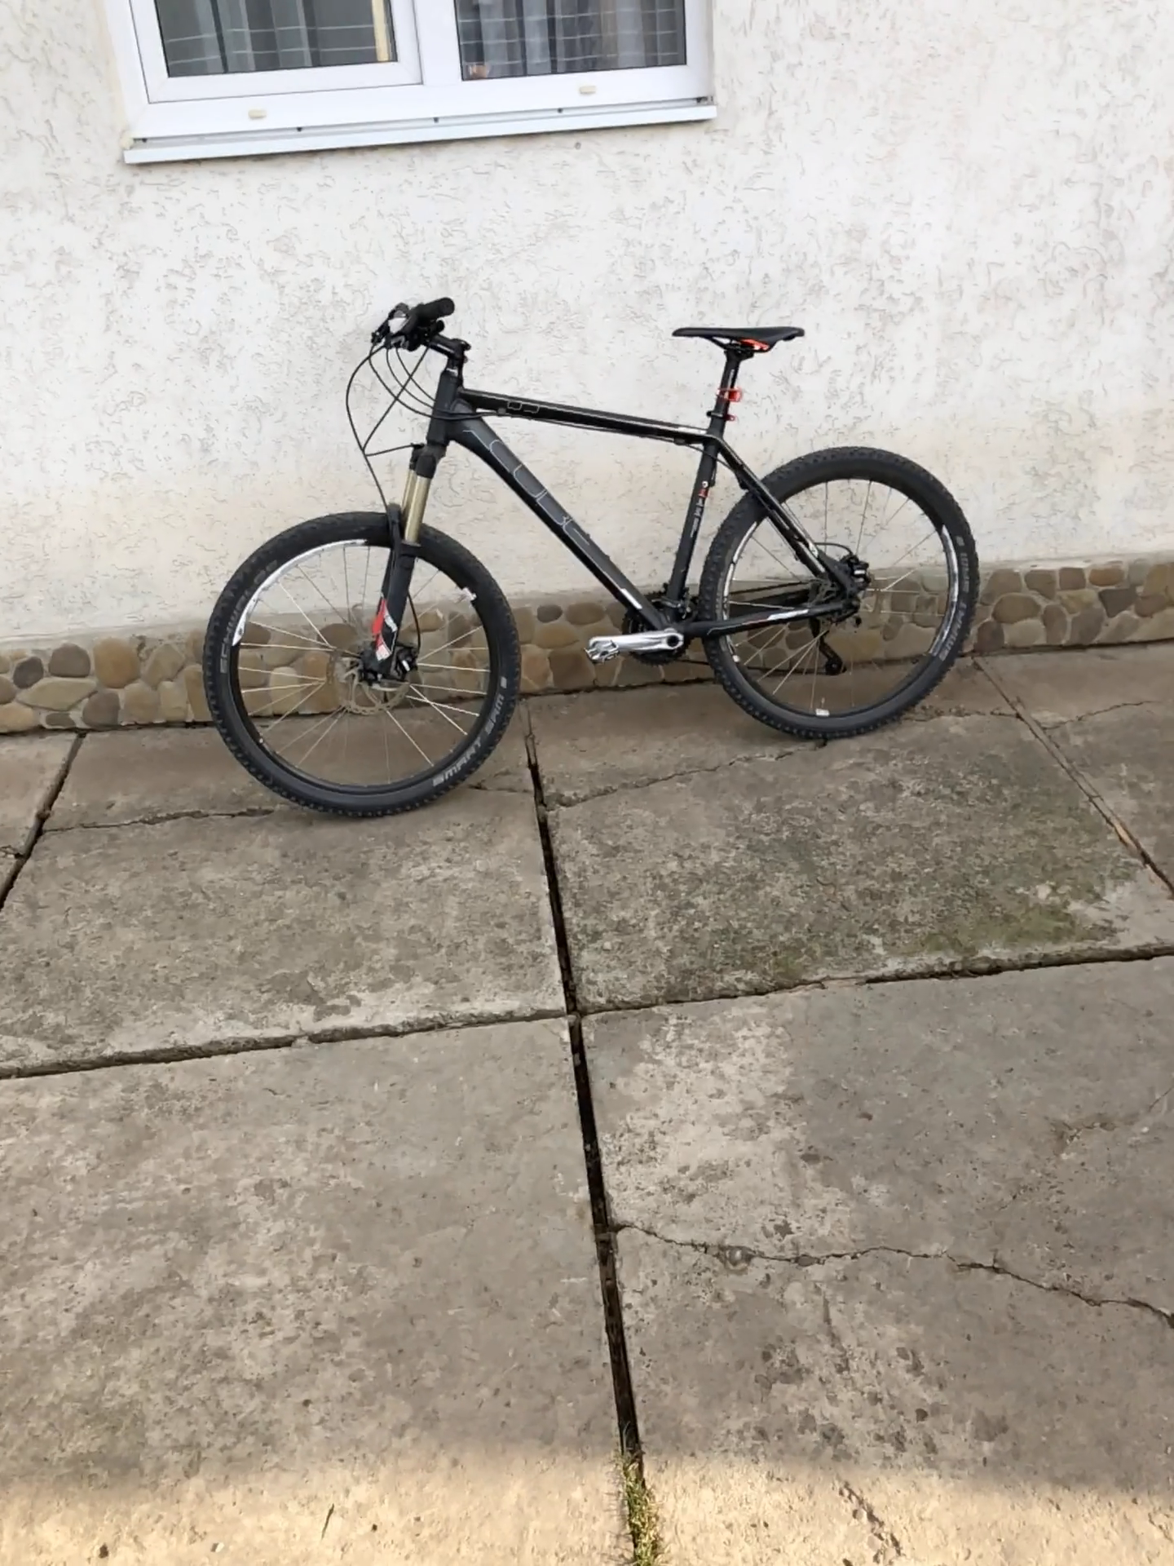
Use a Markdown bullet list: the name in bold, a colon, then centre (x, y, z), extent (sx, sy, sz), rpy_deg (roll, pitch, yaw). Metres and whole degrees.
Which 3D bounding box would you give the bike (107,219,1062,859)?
- **bike**: centre (0.019, -0.594, 2.900), extent (1.773, 1.090, 0.690), rpy_deg (-8, 29, -9)
